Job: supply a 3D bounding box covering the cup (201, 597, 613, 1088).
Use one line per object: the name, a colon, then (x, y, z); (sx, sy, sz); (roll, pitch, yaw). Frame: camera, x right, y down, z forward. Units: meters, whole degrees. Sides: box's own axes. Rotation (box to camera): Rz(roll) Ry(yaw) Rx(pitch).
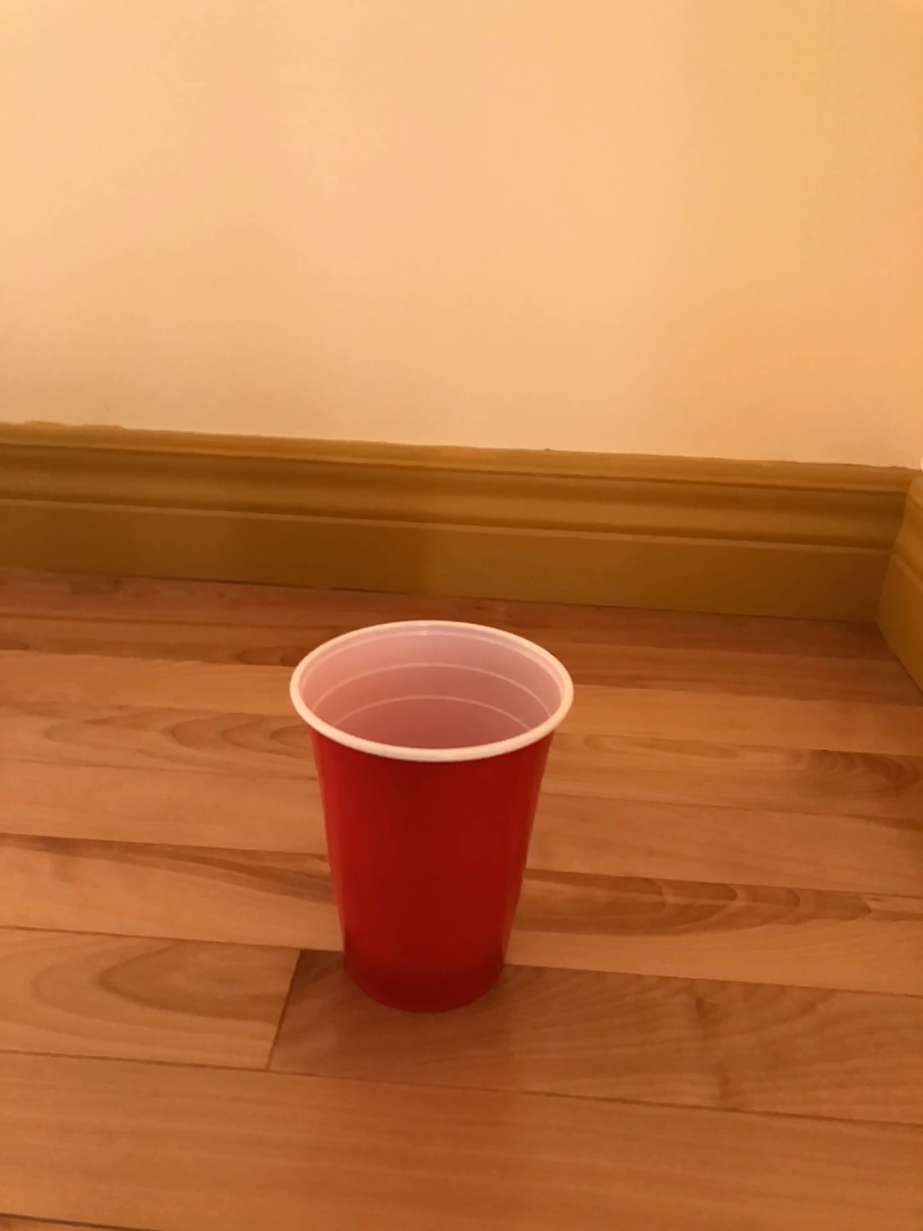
cup: (-0.016, 0.071, 0.361); (0.100, 0.110, 0.100); (1, 24, -1)
